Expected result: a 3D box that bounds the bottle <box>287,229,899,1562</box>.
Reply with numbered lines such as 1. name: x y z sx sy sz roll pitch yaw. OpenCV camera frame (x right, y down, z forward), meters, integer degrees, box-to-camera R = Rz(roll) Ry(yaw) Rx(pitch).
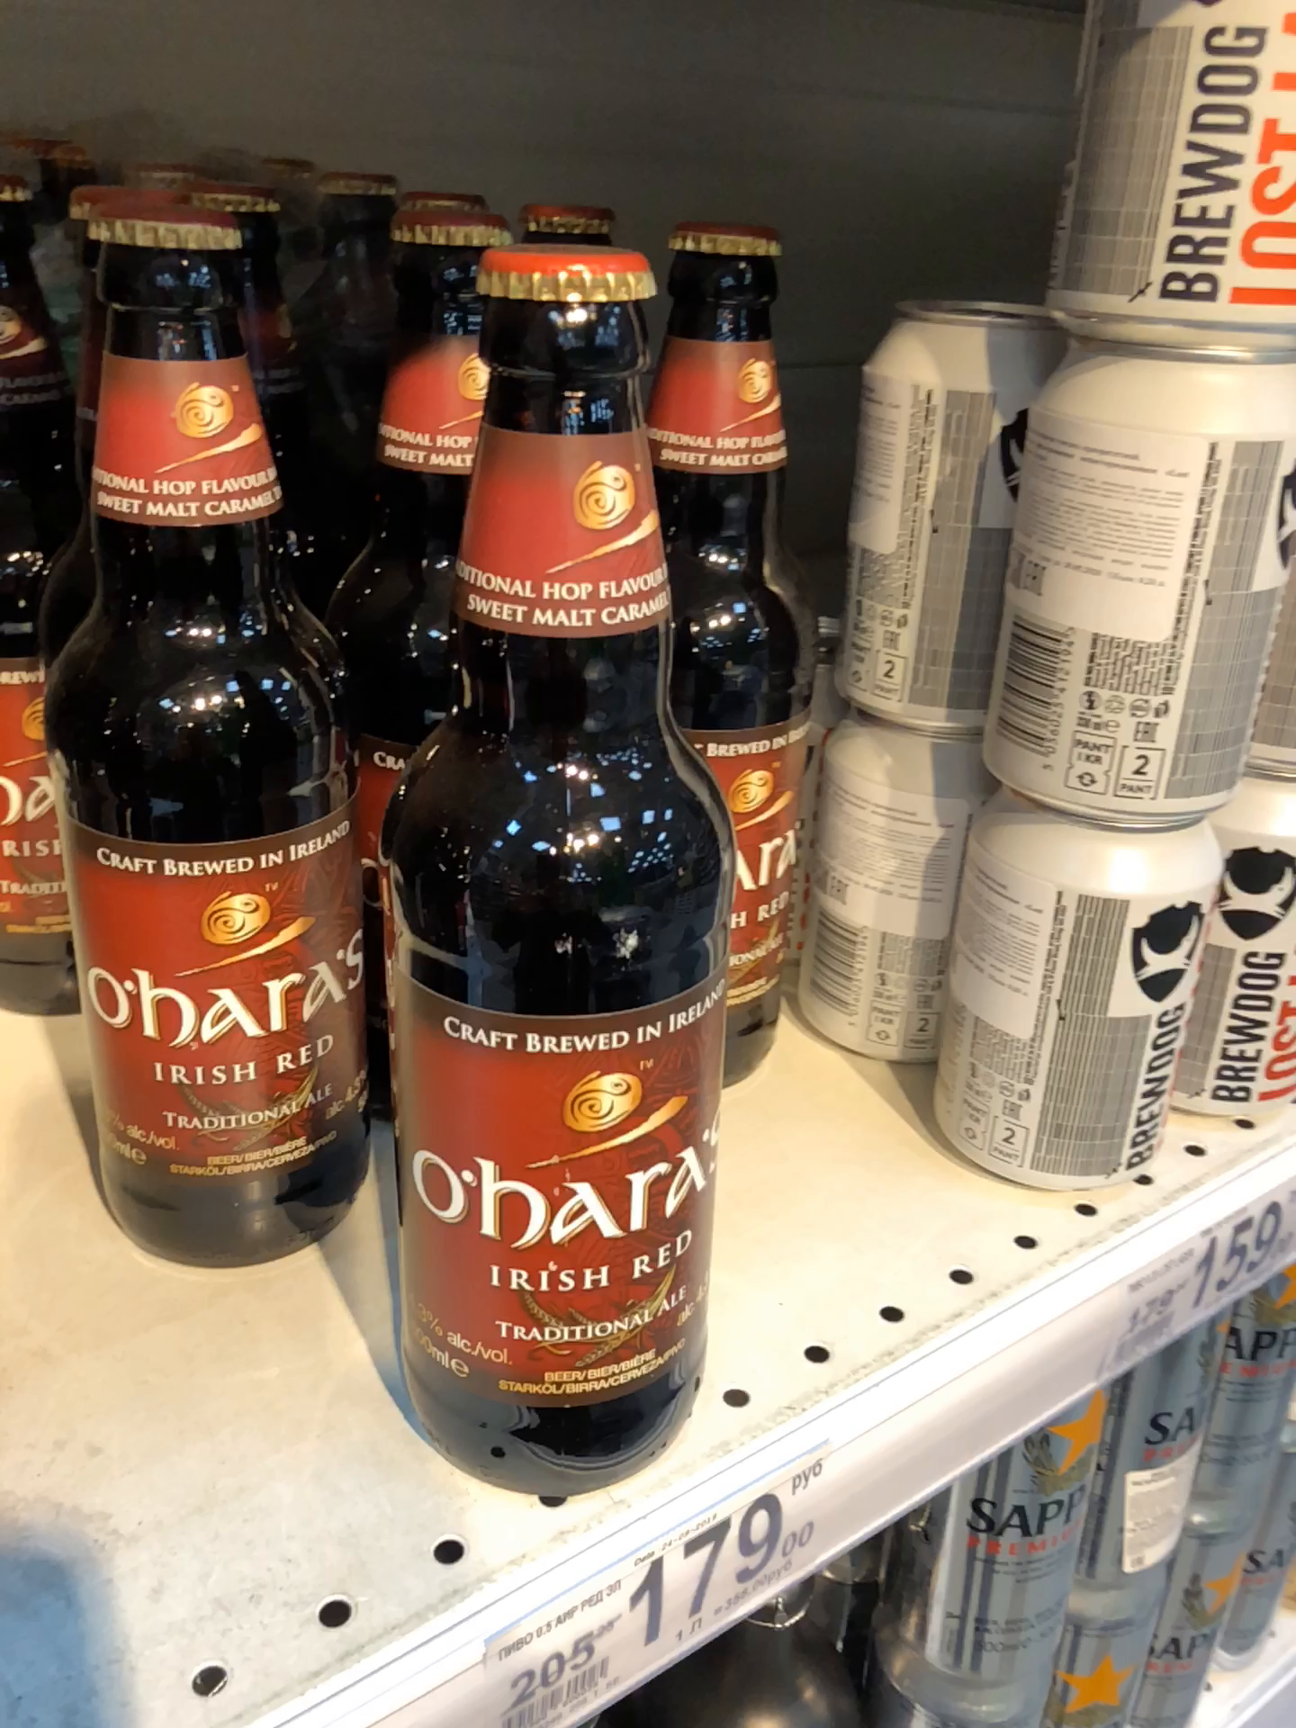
1. bottle: -0.020 0.011 0.287 0.080 0.246 0.080 3 26 -1
